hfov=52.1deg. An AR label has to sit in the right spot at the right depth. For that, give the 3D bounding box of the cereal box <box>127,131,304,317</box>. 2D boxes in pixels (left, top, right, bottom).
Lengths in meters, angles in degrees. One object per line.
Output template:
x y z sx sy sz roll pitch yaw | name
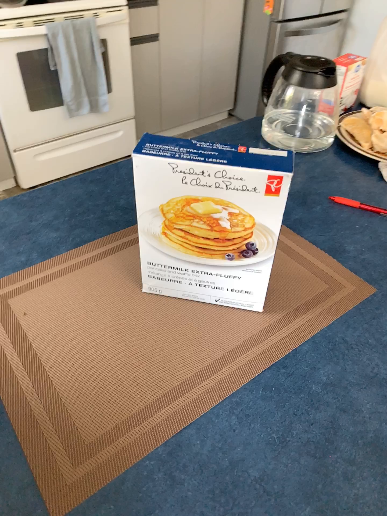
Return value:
0.020 -0.030 0.465 0.170 0.208 0.050 8 42 6 | cereal box
